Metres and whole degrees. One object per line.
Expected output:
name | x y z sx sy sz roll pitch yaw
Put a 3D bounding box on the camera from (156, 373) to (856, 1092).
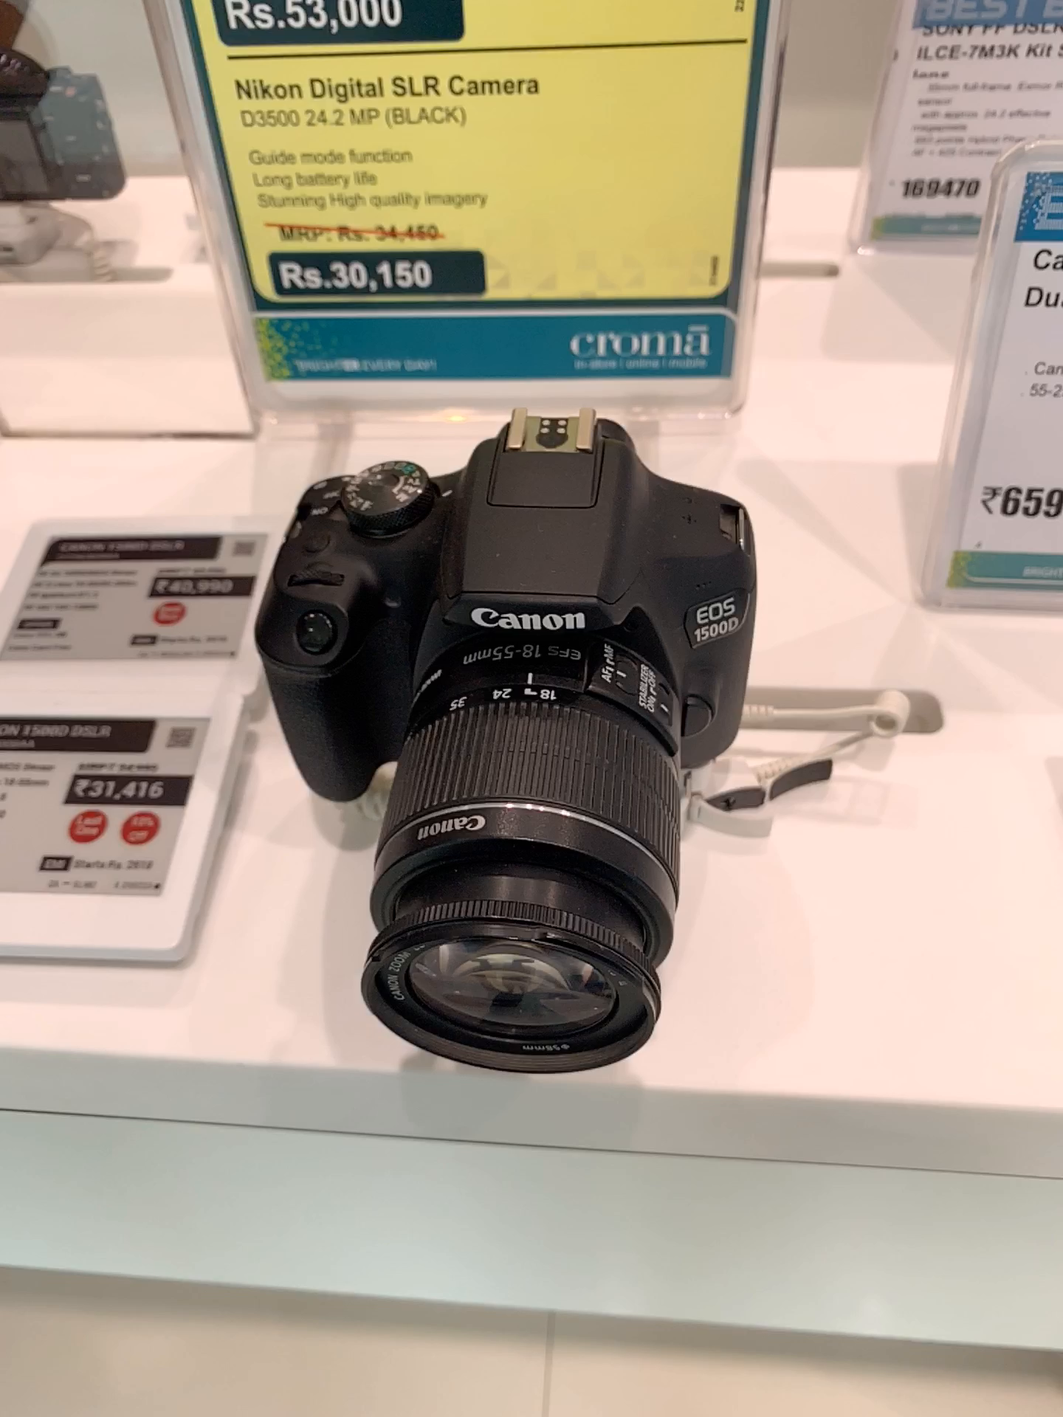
camera | 0.003 0.000 0.249 0.110 0.090 0.130 3 47 6
